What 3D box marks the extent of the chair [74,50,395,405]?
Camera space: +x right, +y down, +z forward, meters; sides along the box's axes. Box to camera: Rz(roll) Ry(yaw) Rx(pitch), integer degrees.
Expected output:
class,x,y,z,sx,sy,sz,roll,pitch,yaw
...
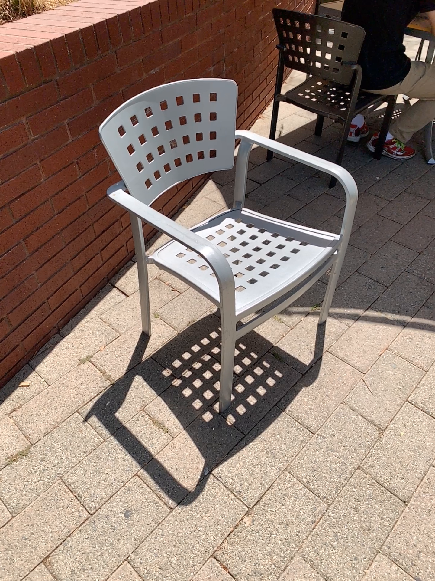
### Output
class,x,y,z,sx,sy,sz,roll,pitch,yaw
chair,0.052,-0.197,1.285,0.503,0.698,0.558,31,52,31
